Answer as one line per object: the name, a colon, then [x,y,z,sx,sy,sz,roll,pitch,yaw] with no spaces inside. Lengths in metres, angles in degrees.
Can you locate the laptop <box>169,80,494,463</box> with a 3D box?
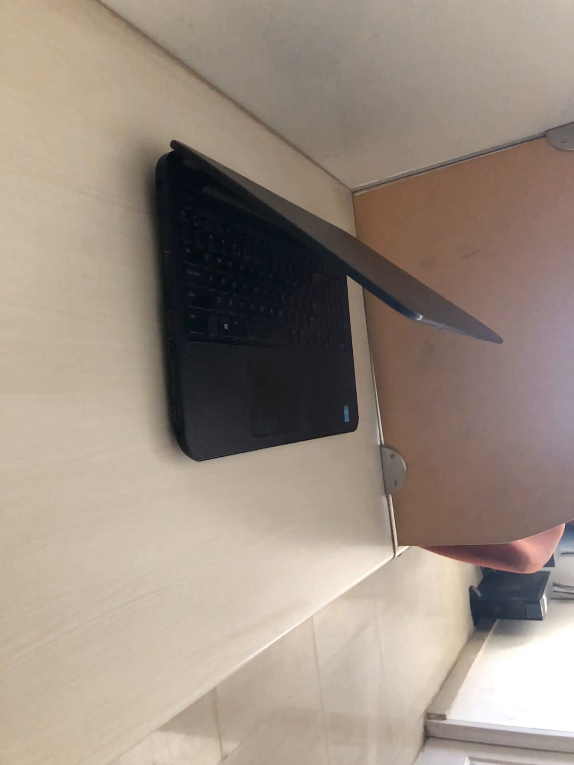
laptop: [0.075,-0.073,0.629,0.366,0.177,0.247,-1,85,-64]
